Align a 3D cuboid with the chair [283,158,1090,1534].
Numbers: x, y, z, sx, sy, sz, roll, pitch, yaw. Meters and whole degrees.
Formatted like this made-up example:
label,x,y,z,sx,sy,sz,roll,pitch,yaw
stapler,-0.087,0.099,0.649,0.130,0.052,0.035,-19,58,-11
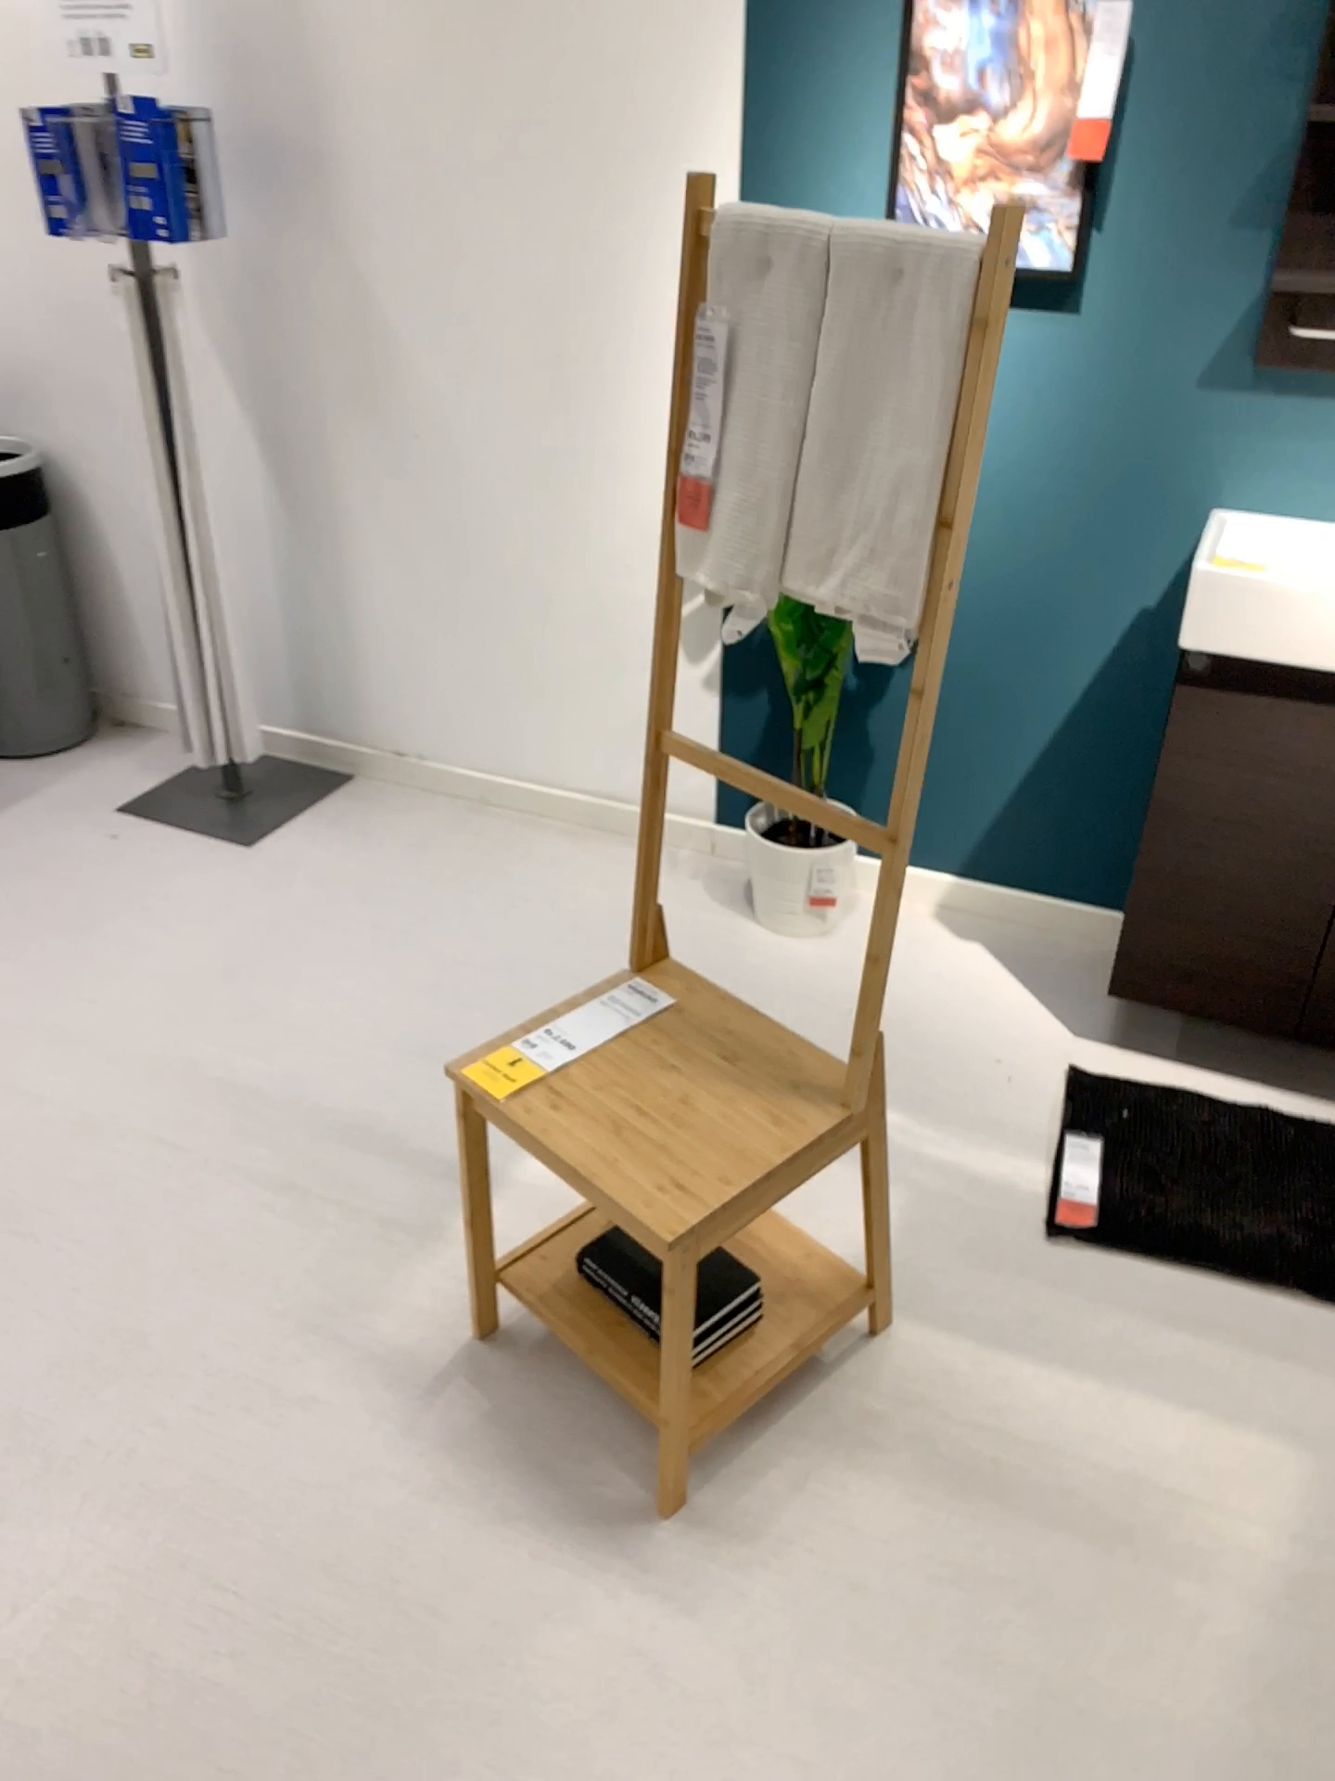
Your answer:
label,x,y,z,sx,sy,sz,roll,pitch,yaw
chair,0.007,-0.022,1.447,0.471,1.294,0.461,-25,39,-36
